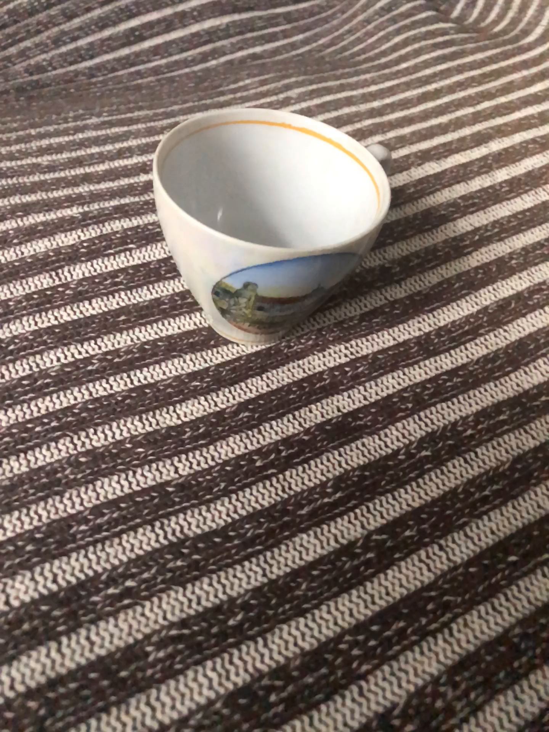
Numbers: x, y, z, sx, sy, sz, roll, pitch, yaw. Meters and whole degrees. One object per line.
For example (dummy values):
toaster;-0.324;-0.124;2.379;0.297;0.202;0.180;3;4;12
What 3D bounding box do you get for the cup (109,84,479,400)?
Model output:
cup;0.003;-0.040;0.180;0.079;0.042;0.061;-25;62;-27
